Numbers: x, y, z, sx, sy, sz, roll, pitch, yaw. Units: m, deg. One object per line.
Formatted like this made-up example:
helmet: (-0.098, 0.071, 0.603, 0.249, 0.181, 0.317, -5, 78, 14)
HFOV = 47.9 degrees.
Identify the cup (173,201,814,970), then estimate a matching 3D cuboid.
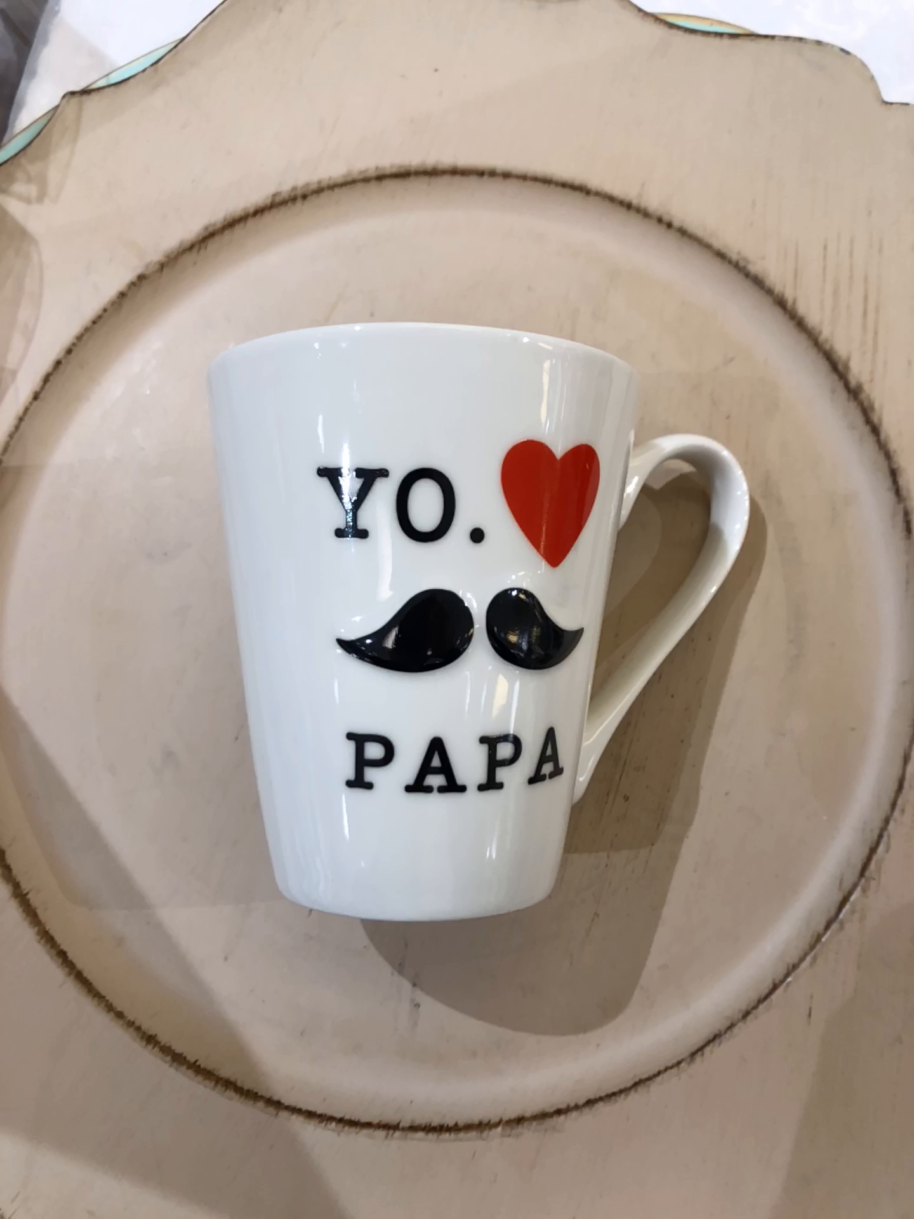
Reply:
cup: (-0.001, -0.003, 0.220, 0.110, 0.090, 0.120, -1, 92, -18)
